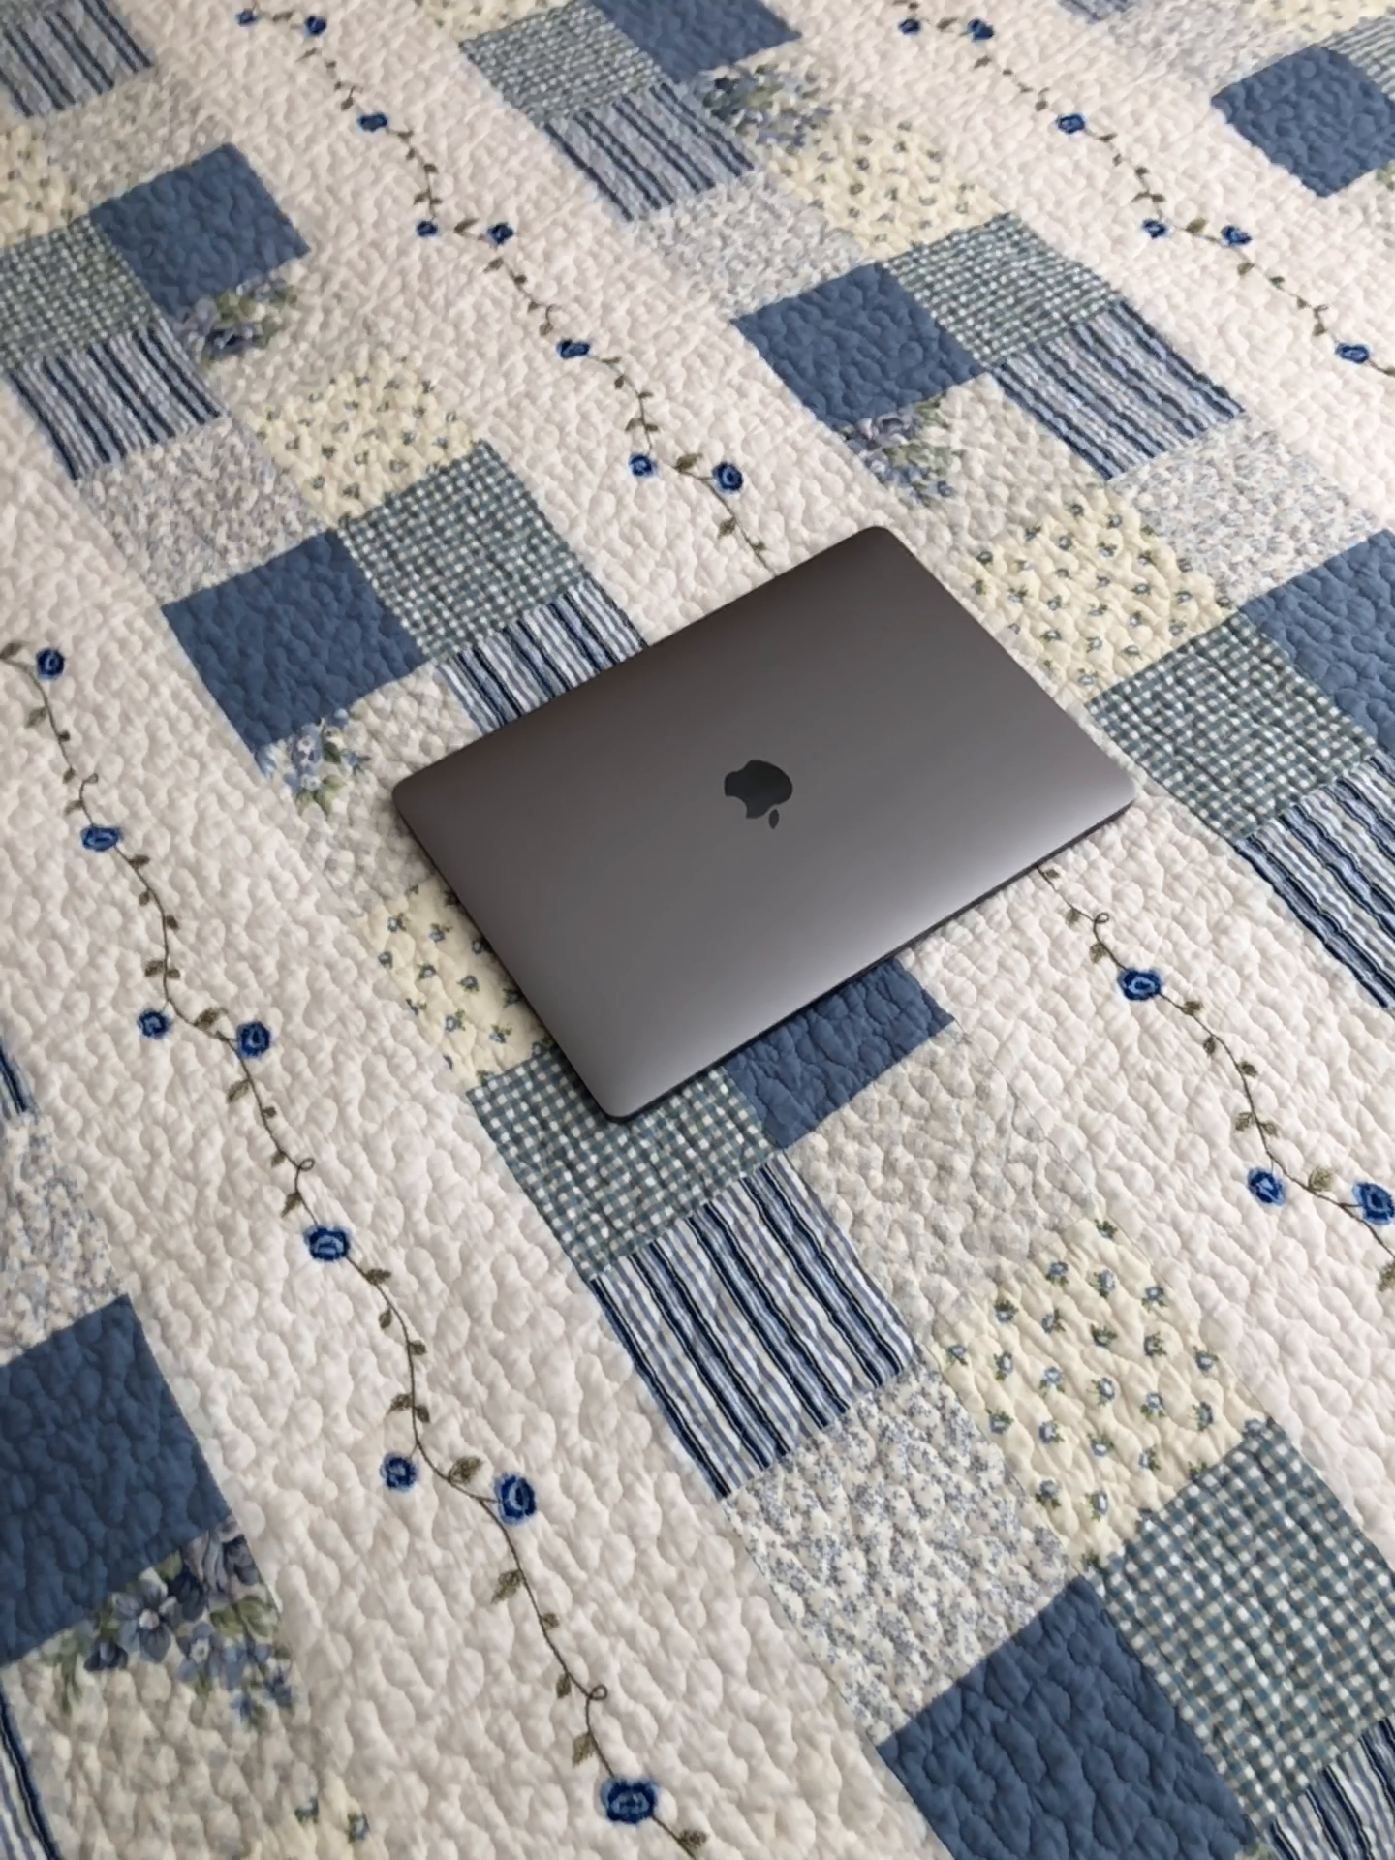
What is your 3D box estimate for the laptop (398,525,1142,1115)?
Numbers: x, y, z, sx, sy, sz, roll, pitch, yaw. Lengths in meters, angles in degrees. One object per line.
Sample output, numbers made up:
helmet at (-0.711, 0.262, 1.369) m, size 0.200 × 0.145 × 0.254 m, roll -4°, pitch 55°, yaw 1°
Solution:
laptop at (0.033, -0.067, 0.732) m, size 0.290 × 0.005 × 0.202 m, roll -31°, pitch 65°, yaw -14°
